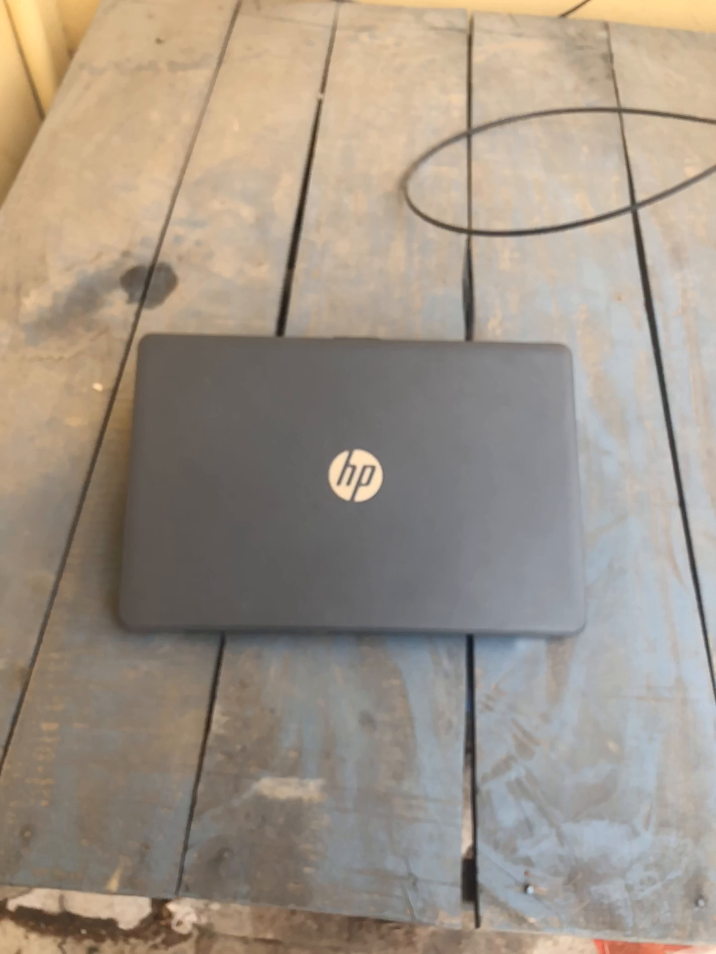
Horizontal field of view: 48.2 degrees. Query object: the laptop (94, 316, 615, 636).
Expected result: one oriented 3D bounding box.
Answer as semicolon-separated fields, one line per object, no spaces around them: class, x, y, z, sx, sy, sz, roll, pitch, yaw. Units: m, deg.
laptop;-0.003;-0.005;0.660;0.361;0.096;0.244;1;57;-1
